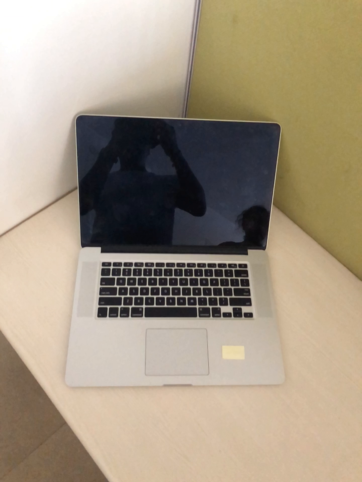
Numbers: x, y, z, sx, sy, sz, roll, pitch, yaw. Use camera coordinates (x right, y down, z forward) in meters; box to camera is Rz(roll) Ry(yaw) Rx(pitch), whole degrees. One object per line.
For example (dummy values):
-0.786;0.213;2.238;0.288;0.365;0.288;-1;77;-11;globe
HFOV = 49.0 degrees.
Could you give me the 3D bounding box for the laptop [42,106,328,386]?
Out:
-0.003;0.006;0.638;0.345;0.163;0.404;1;63;-5;laptop
